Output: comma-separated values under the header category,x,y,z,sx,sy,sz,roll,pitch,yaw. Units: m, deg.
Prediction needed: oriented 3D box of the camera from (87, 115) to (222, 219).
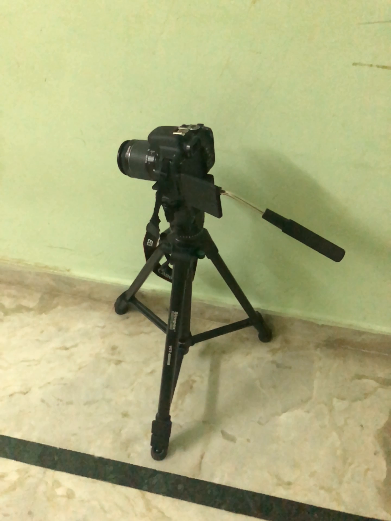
category,x,y,z,sx,sy,sz,roll,pitch,yaw
camera,-0.065,-0.169,0.759,0.190,0.099,0.131,13,47,18
